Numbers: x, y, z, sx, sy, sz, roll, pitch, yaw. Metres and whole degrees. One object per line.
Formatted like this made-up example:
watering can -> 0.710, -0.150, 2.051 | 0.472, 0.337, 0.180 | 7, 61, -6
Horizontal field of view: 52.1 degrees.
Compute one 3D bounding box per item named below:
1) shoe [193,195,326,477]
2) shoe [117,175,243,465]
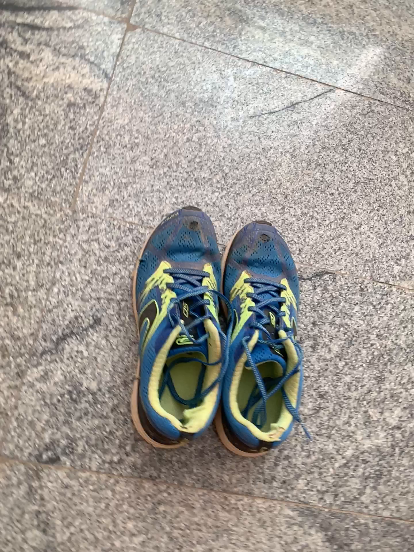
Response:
shoe -> 0.063, 0.063, 0.487 | 0.110, 0.060, 0.291 | 11, 75, -12
shoe -> -0.026, 0.045, 0.465 | 0.100, 0.060, 0.291 | 10, 75, -22
